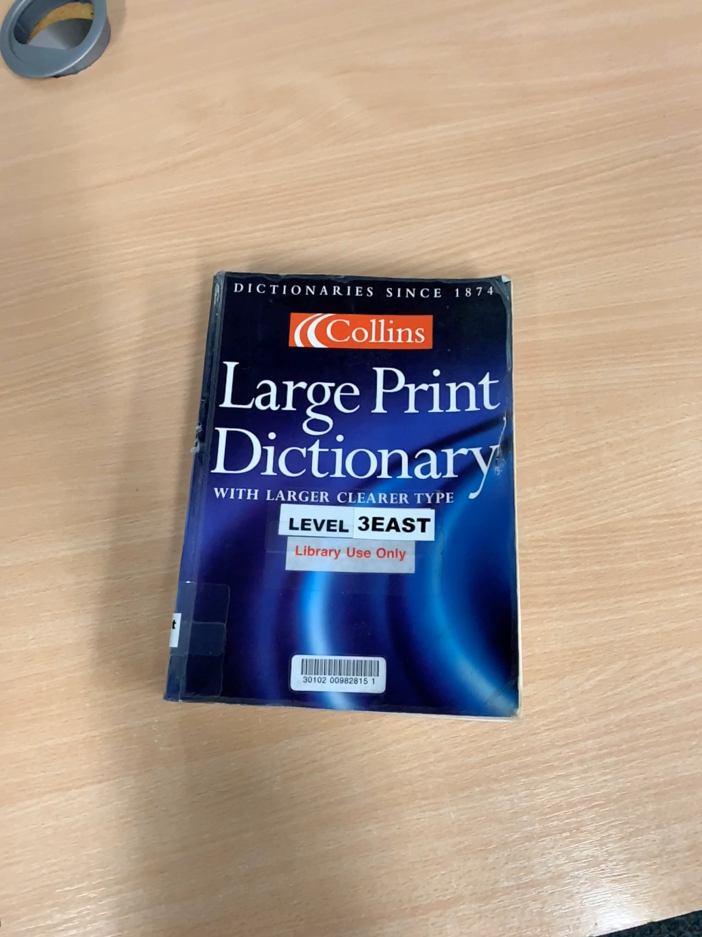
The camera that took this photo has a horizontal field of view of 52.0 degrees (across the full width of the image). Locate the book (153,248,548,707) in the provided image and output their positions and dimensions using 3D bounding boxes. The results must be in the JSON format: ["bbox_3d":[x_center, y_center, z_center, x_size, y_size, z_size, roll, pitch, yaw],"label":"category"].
[{"bbox_3d":[0.006,-0.002,0.400,0.188,0.050,0.243,2,73,4],"label":"book"}]
